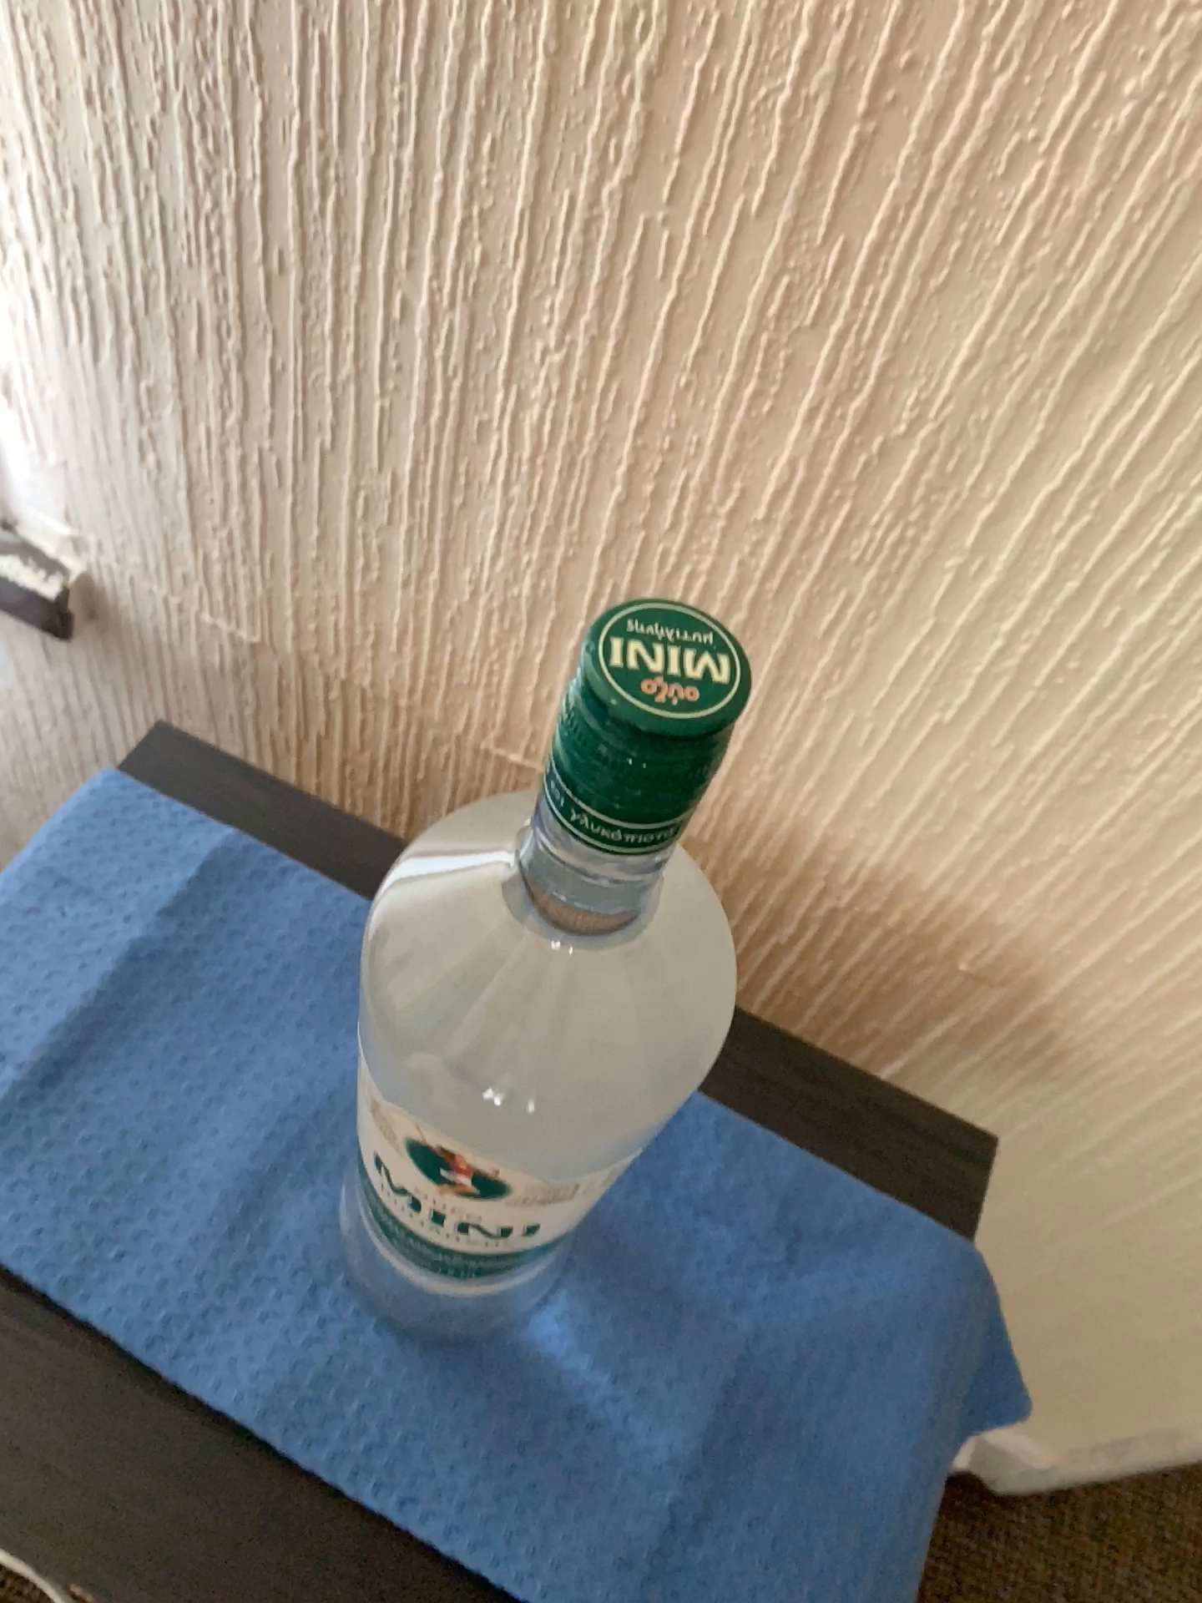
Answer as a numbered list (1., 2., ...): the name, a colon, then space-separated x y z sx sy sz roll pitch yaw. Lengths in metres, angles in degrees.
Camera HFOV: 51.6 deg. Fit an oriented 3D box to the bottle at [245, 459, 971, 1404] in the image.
1. bottle: -0.025 0.073 0.317 0.090 0.318 0.071 28 55 6
